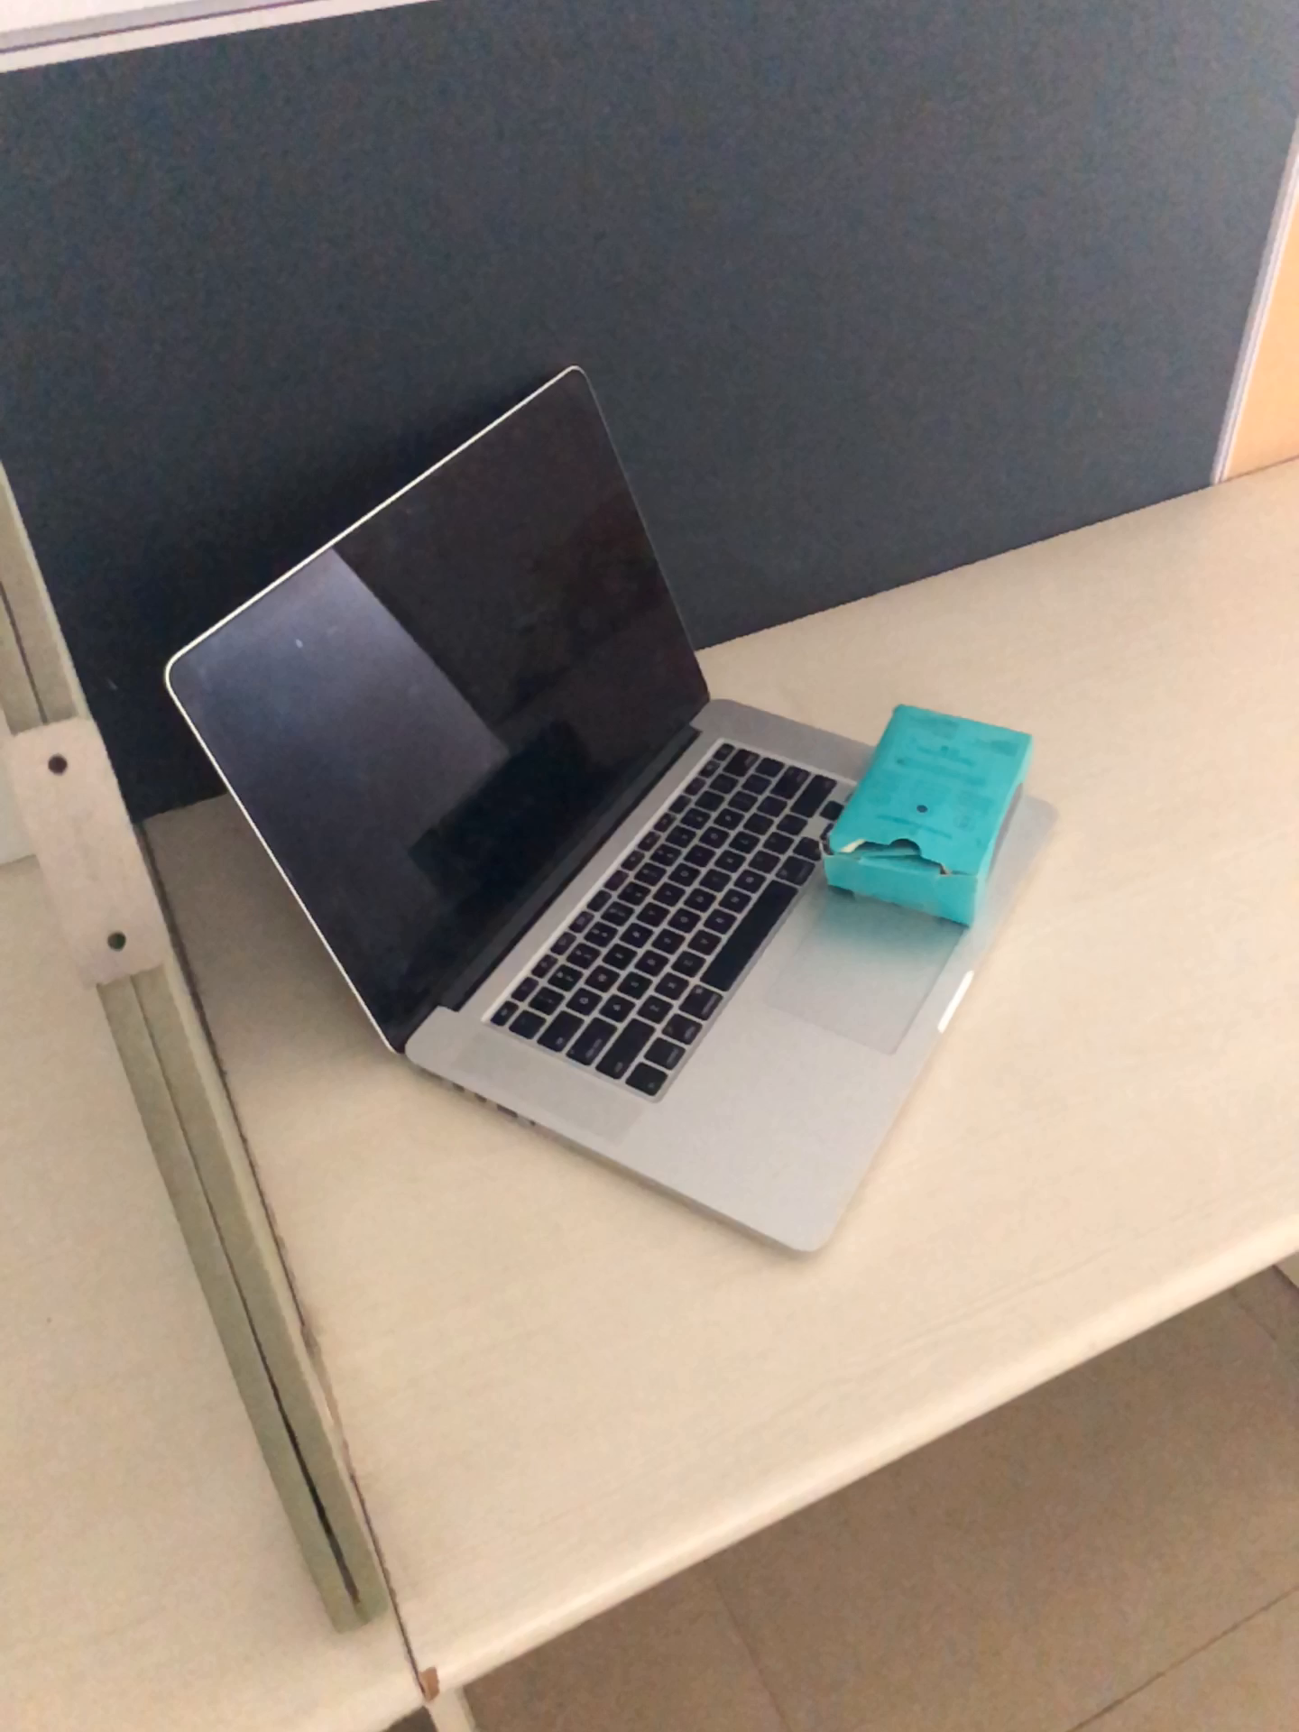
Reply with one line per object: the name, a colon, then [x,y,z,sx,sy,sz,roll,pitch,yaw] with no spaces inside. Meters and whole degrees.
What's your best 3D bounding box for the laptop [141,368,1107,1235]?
laptop: [0.005,-0.062,0.755,0.338,0.200,0.330,23,49,22]
